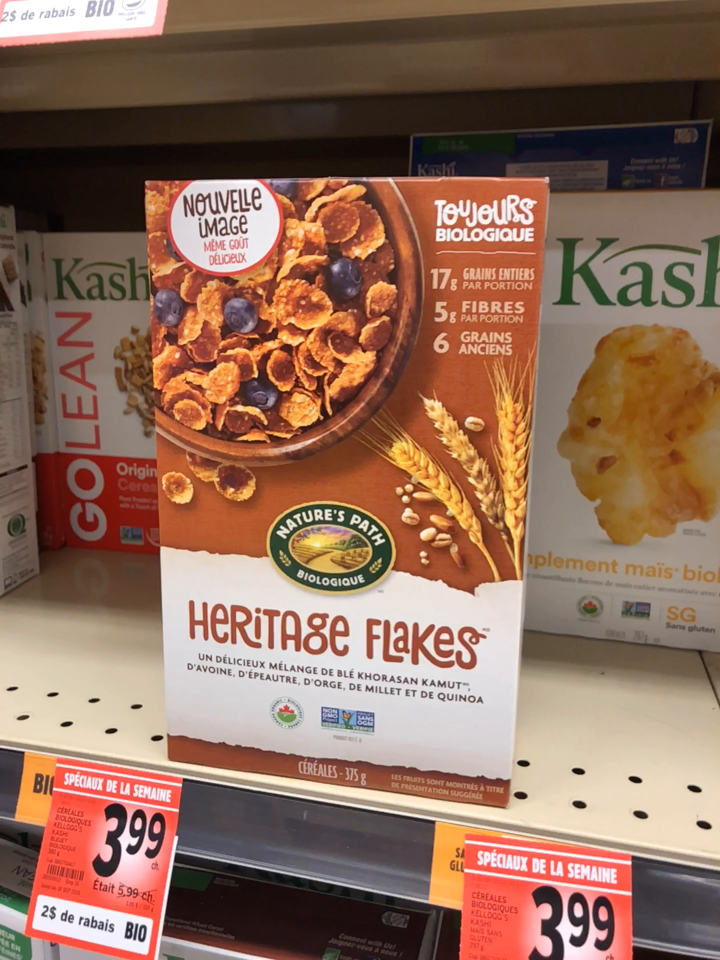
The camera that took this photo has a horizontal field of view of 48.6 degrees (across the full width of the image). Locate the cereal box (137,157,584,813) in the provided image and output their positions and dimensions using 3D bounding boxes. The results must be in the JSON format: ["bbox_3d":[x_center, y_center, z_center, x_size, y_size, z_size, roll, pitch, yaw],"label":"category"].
[{"bbox_3d":[0.003,0.000,0.358,0.170,0.259,0.070,3,14,13],"label":"cereal box"}]
